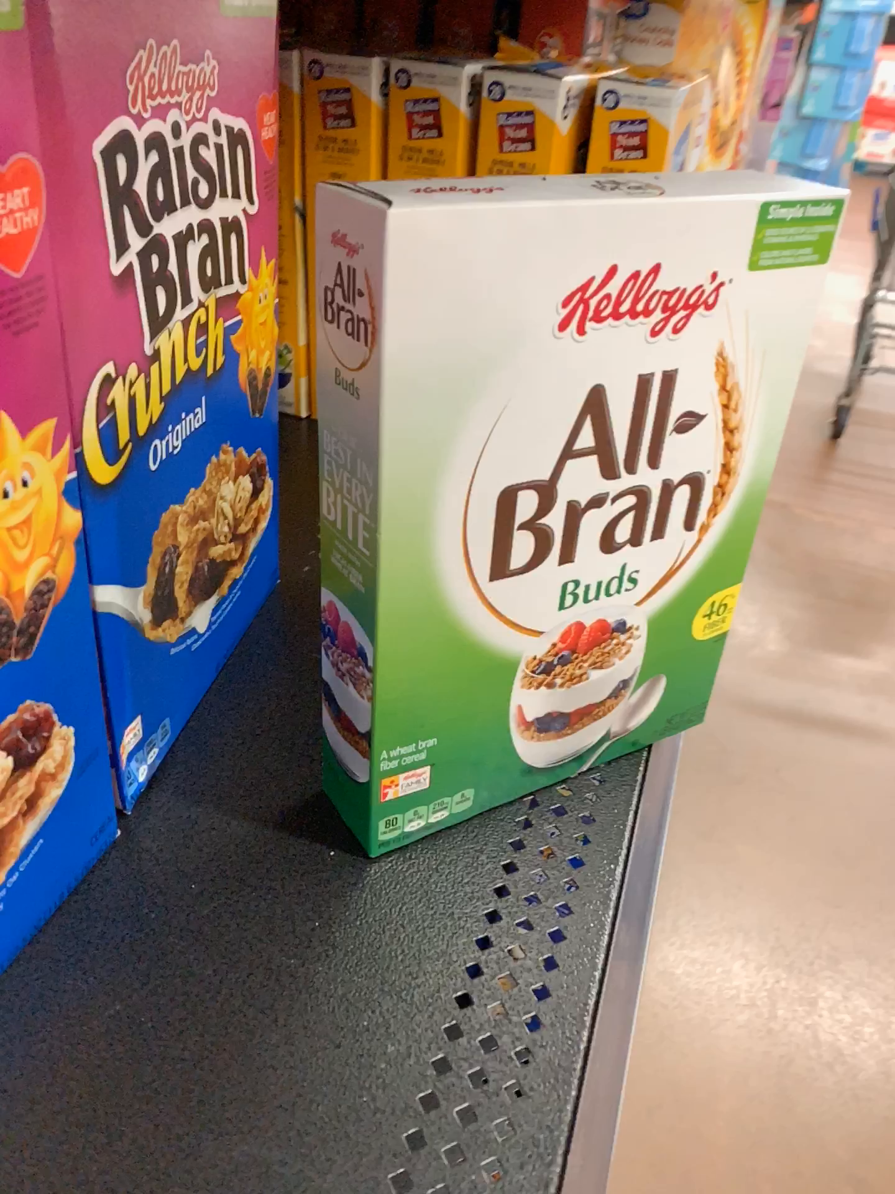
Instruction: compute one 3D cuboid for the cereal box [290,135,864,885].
[{"bbox_3d":[0.040,-0.031,0.356,0.190,0.259,0.050,-15,36,-28],"label":"cereal box"}]
